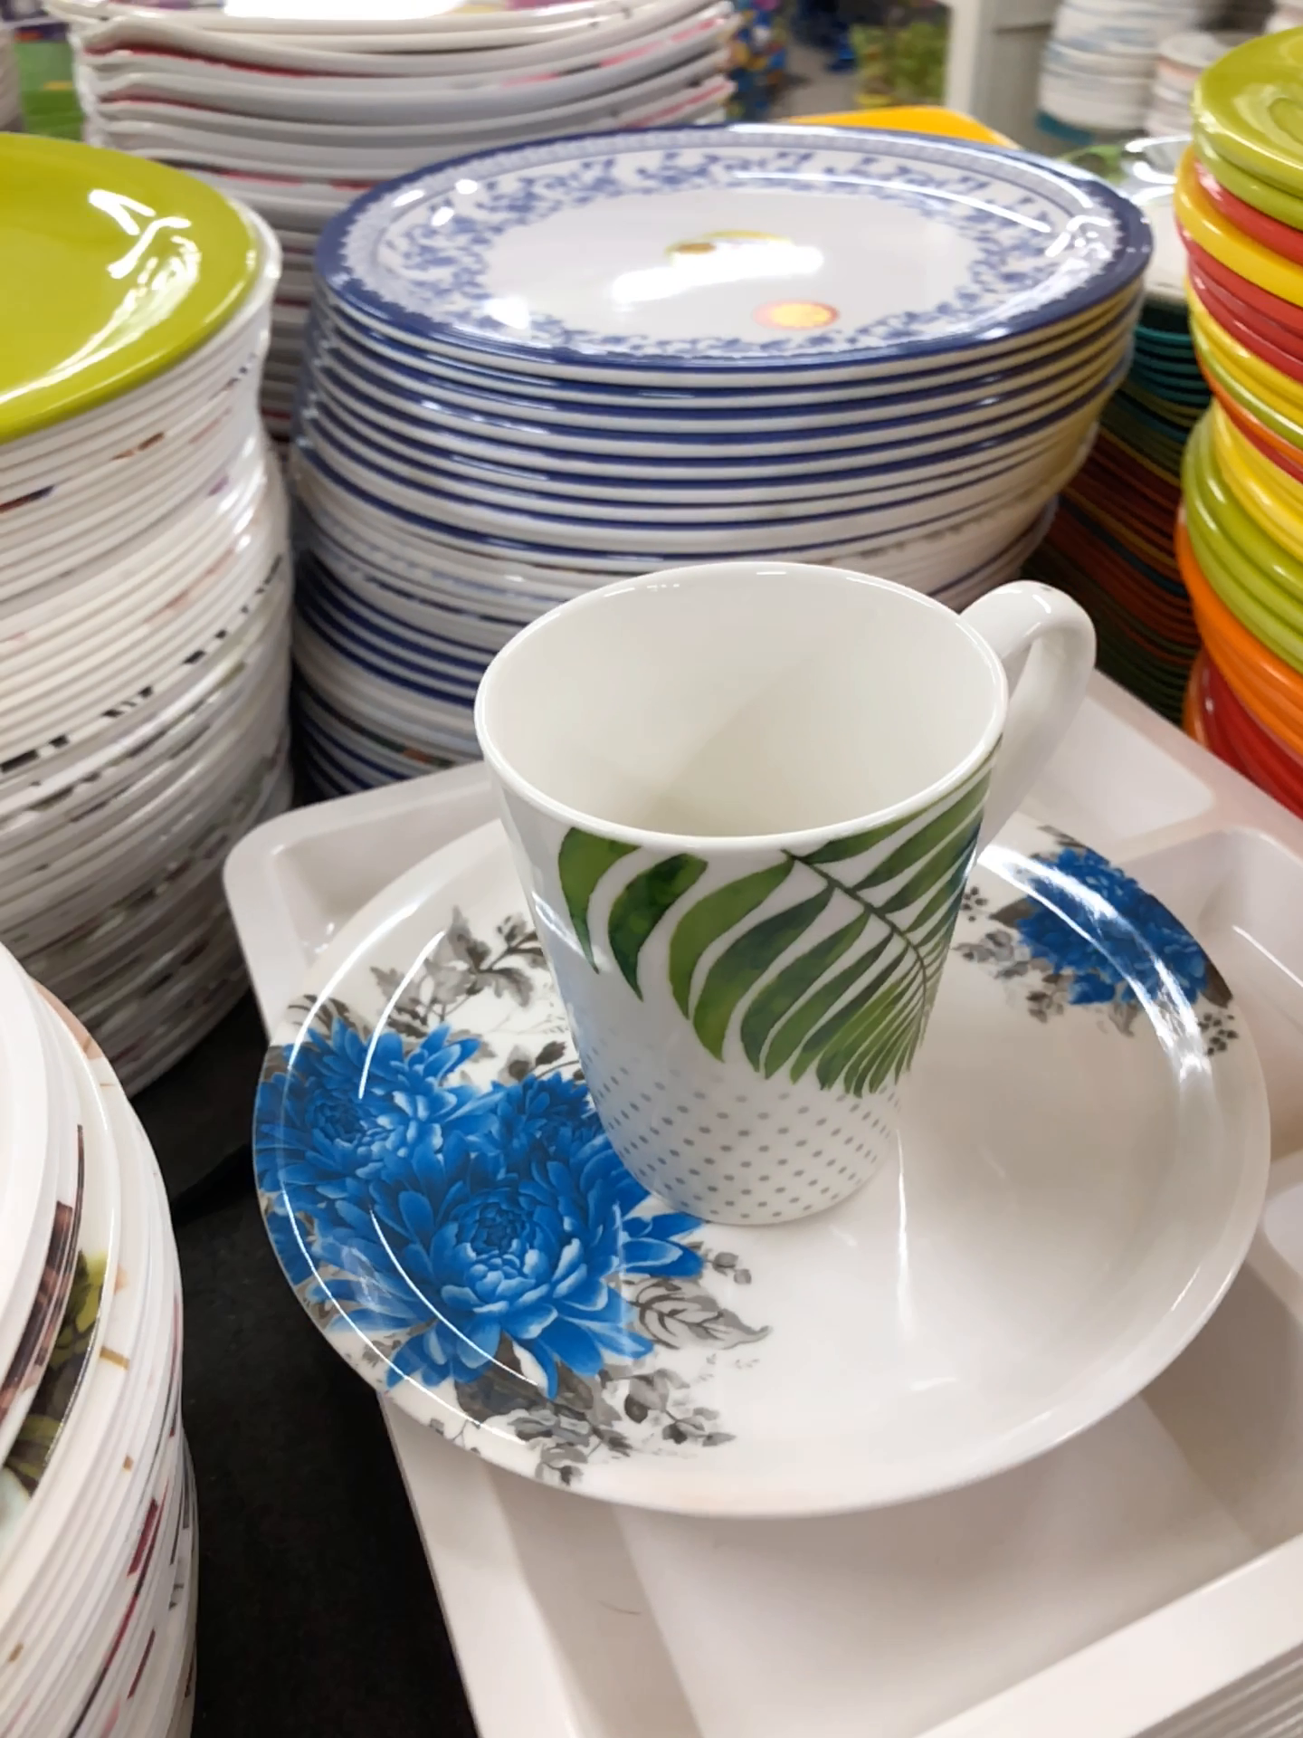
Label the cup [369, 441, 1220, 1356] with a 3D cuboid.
[{"bbox_3d":[0.029,-0.004,0.257,0.080,0.089,0.121,25,46,30],"label":"cup"}]
